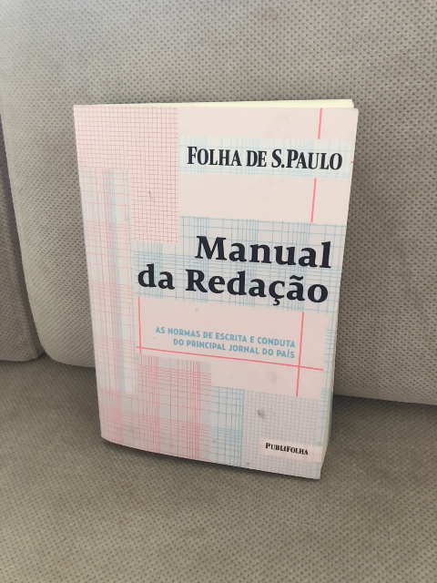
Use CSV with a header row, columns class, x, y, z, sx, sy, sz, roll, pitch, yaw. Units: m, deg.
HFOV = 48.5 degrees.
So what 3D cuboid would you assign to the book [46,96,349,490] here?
class,x,y,z,sx,sy,sz,roll,pitch,yaw
book,-0.013,0.001,0.307,0.166,0.228,0.040,5,19,16
